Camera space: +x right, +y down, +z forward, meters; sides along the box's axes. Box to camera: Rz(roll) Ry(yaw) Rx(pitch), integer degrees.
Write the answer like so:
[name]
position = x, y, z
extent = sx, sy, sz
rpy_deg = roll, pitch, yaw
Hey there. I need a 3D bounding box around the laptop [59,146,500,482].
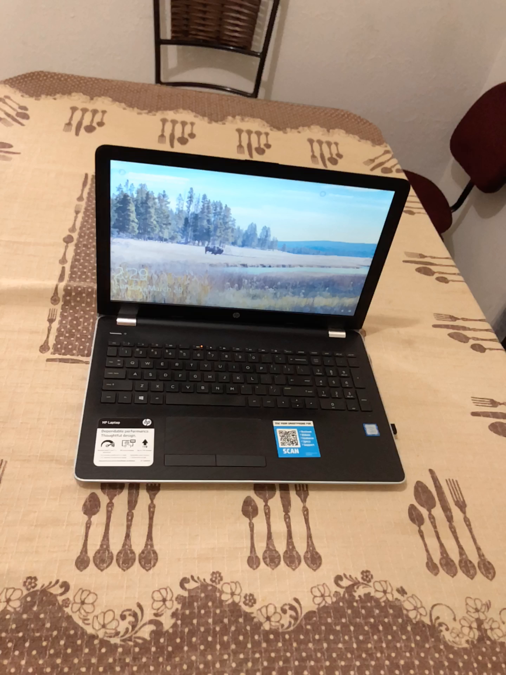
[laptop]
position = 0.002, -0.021, 0.615
extent = 0.360, 0.225, 0.269
rpy_deg = 4, 44, -11
